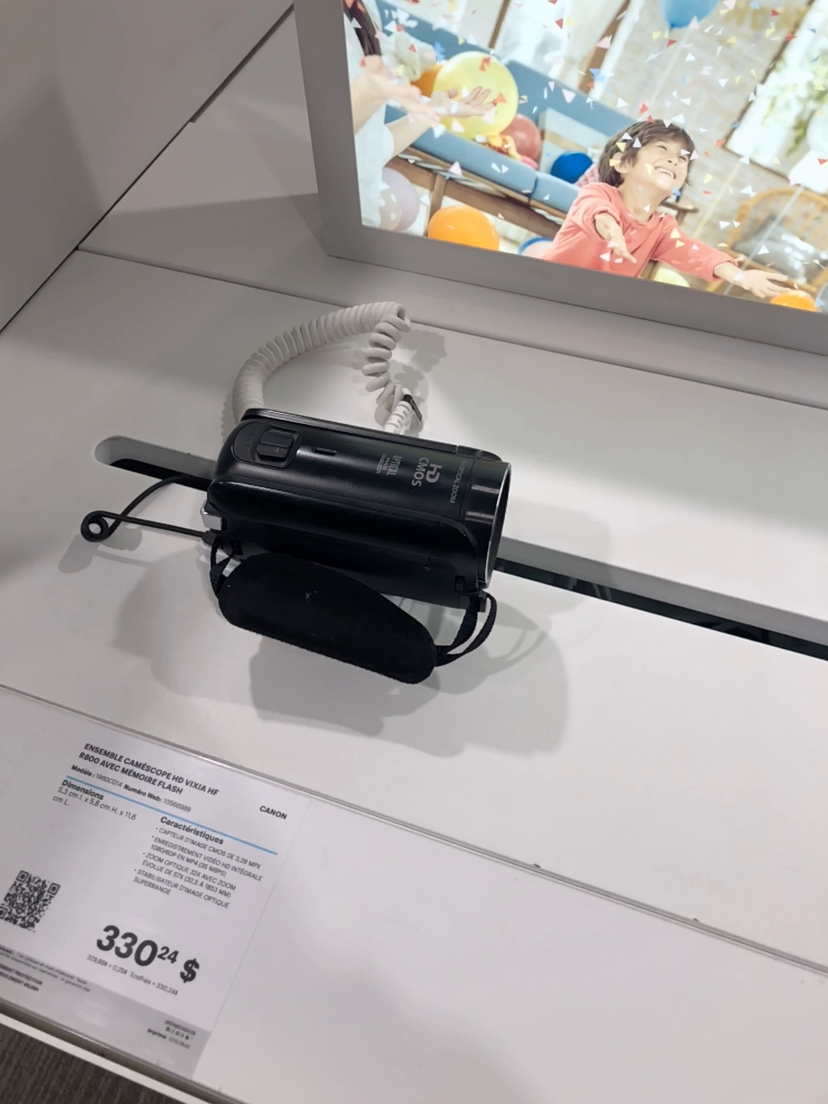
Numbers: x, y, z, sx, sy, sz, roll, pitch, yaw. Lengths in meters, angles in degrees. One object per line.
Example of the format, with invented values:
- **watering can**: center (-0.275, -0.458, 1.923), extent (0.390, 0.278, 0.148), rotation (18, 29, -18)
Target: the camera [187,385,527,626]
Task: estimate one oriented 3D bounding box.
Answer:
- **camera**: center (-0.019, -0.019, 0.351), extent (0.113, 0.050, 0.050), rotation (13, 55, 11)
